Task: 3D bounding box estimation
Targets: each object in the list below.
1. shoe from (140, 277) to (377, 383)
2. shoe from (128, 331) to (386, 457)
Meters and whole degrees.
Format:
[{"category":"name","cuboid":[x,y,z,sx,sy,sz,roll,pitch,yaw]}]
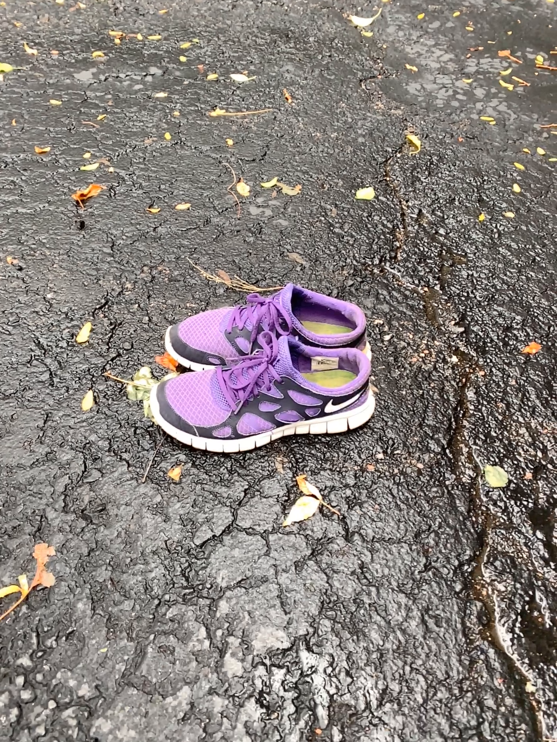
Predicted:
[{"category":"shoe","cuboid":[-0.026,-0.056,0.785,0.300,0.090,0.110,-1,53,0]},{"category":"shoe","cuboid":[-0.024,0.031,0.731,0.300,0.100,0.110,-3,53,3]}]
